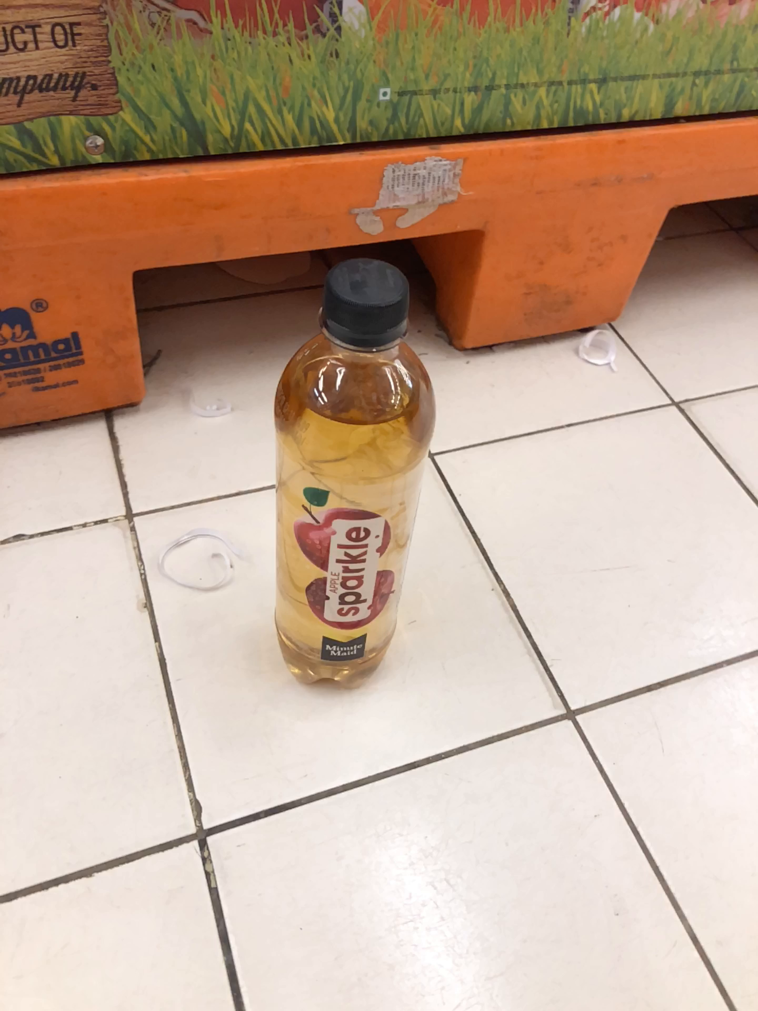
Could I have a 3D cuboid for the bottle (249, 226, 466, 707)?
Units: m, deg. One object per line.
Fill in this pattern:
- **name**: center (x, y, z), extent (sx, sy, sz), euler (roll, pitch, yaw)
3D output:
- **bottle**: center (-0.020, 0.001, 0.382), extent (0.070, 0.238, 0.070), euler (3, 48, -3)
